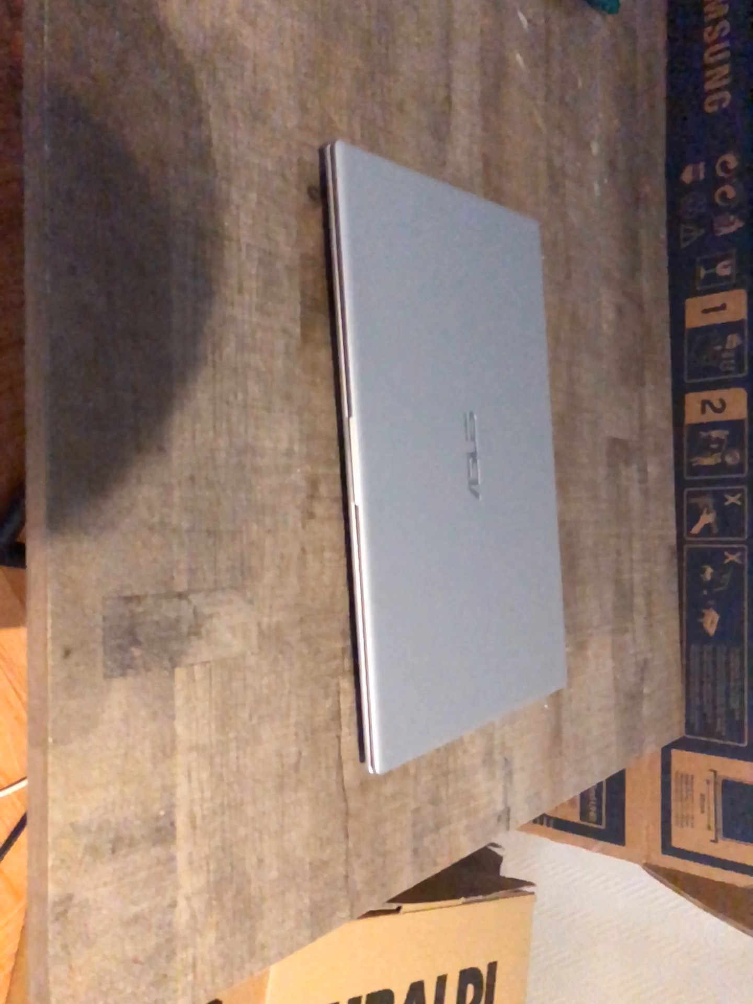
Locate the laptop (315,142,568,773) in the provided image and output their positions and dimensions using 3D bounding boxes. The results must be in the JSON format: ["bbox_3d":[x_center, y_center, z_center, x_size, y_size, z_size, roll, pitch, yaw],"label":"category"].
[{"bbox_3d":[0.058,-0.029,0.553,0.229,0.013,0.353,-6,93,-50],"label":"laptop"}]
